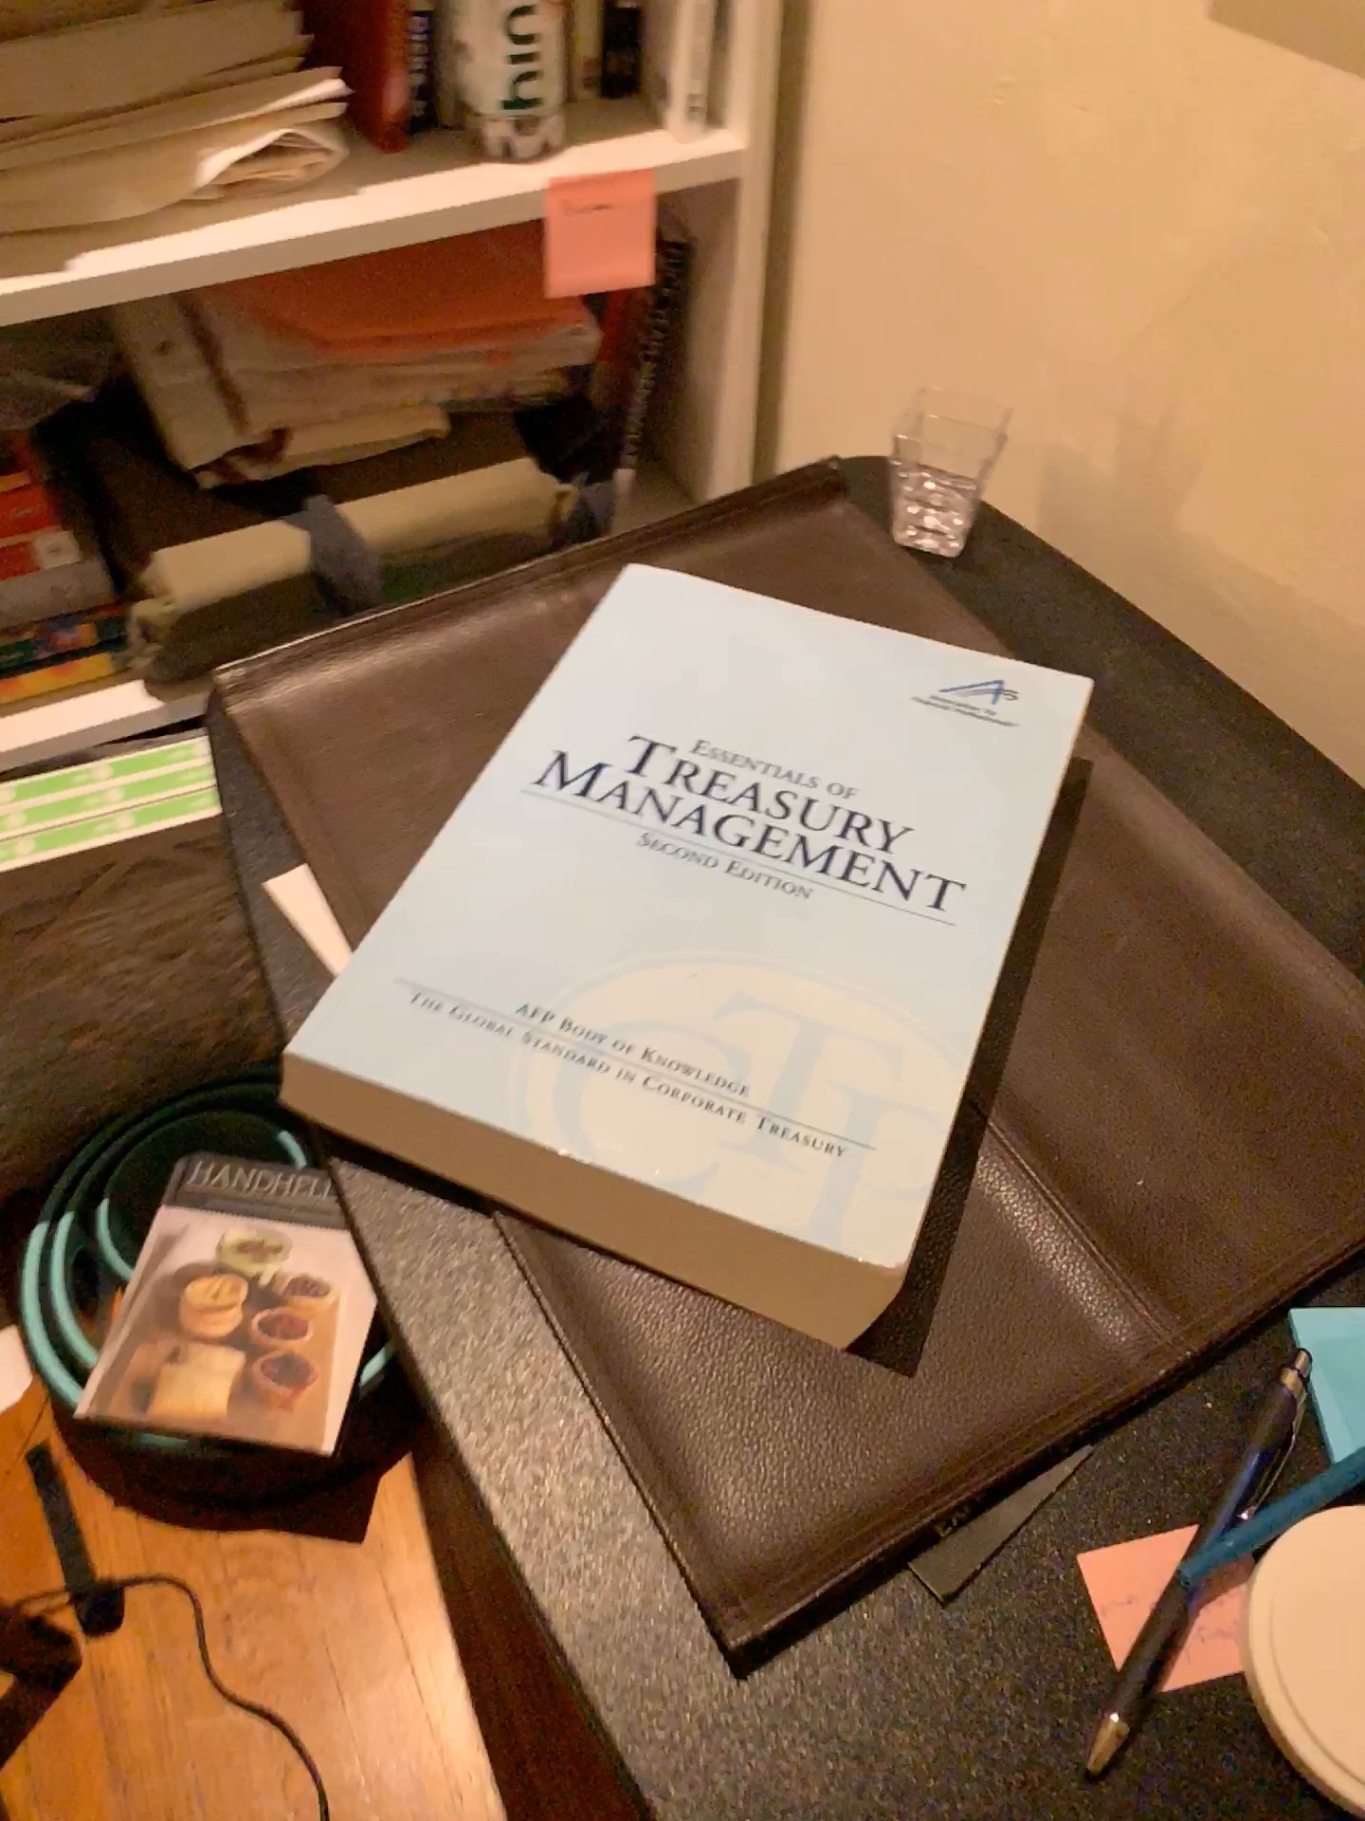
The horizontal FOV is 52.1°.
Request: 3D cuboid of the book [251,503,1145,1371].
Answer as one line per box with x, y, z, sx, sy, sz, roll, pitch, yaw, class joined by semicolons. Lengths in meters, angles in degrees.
0.025;-0.019;0.522;0.220;0.060;0.301;19;53;14;book
